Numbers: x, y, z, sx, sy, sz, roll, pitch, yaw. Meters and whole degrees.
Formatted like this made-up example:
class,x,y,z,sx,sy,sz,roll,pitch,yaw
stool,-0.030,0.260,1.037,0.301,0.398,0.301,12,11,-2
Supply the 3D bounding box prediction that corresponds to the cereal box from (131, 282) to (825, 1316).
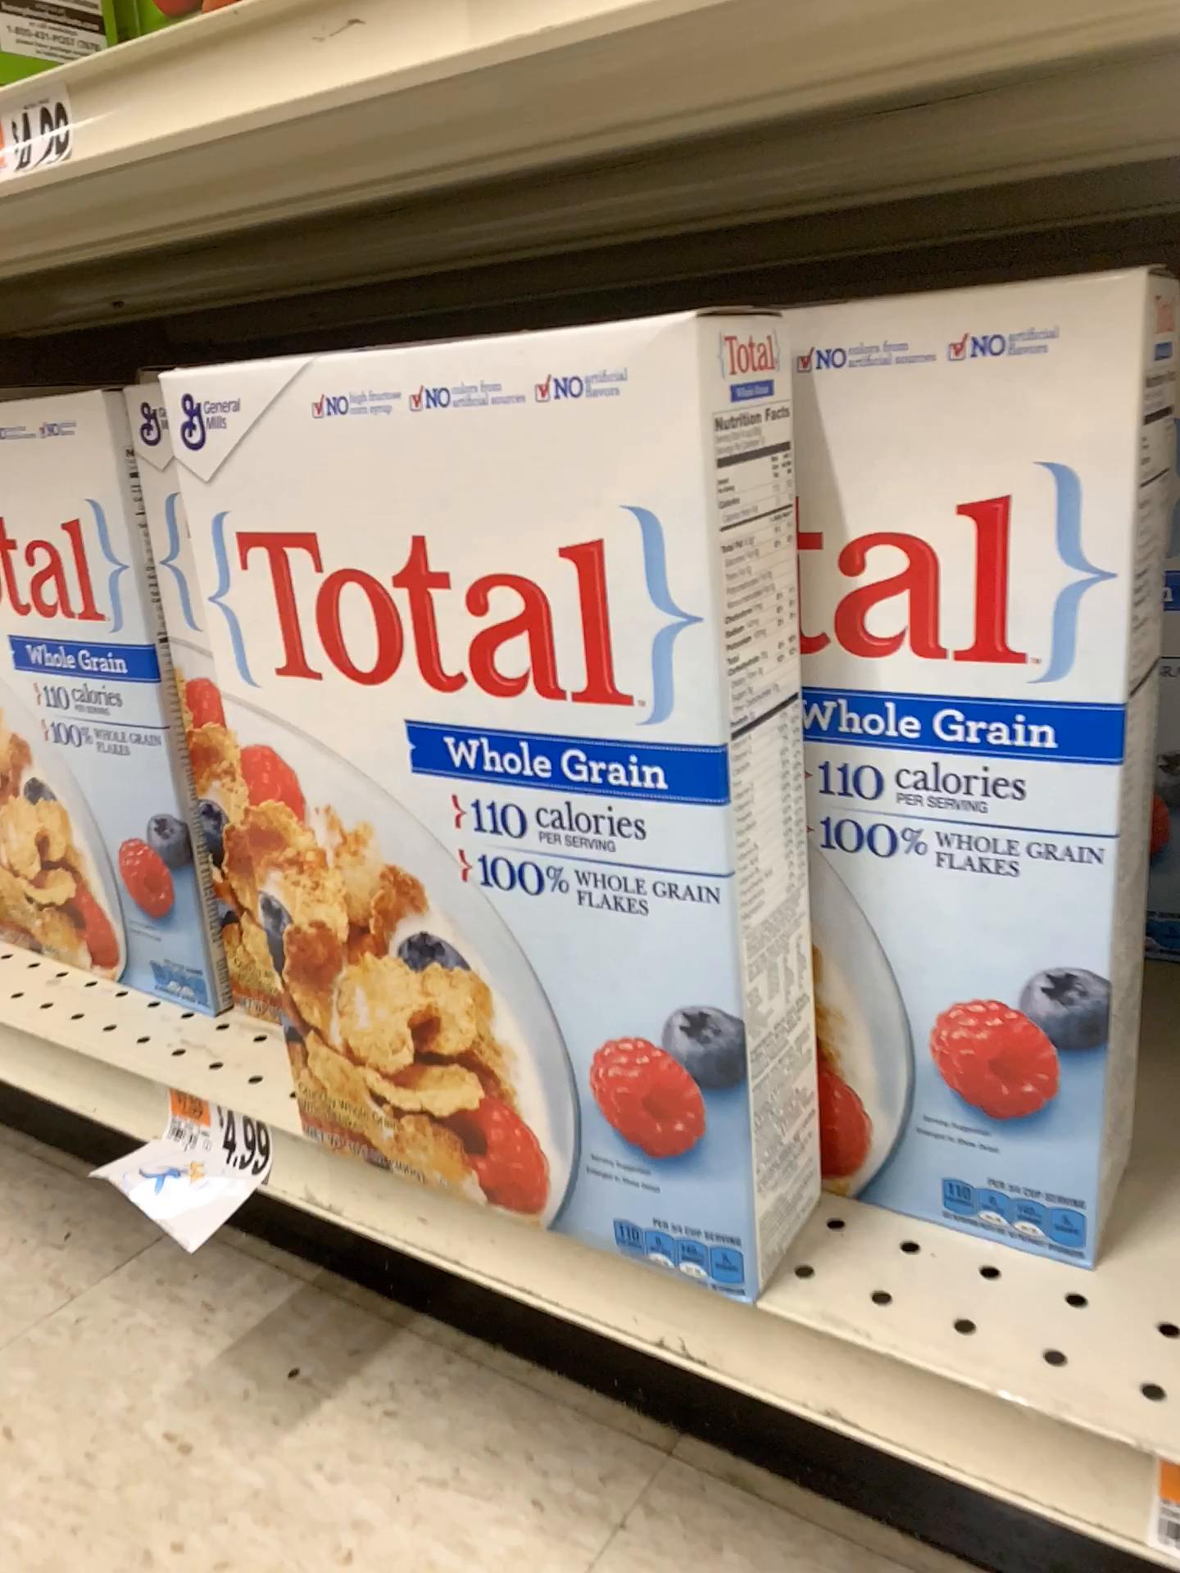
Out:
class,x,y,z,sx,sy,sz,roll,pitch,yaw
cereal box,-0.033,0.003,0.381,0.200,0.279,0.050,7,22,34
